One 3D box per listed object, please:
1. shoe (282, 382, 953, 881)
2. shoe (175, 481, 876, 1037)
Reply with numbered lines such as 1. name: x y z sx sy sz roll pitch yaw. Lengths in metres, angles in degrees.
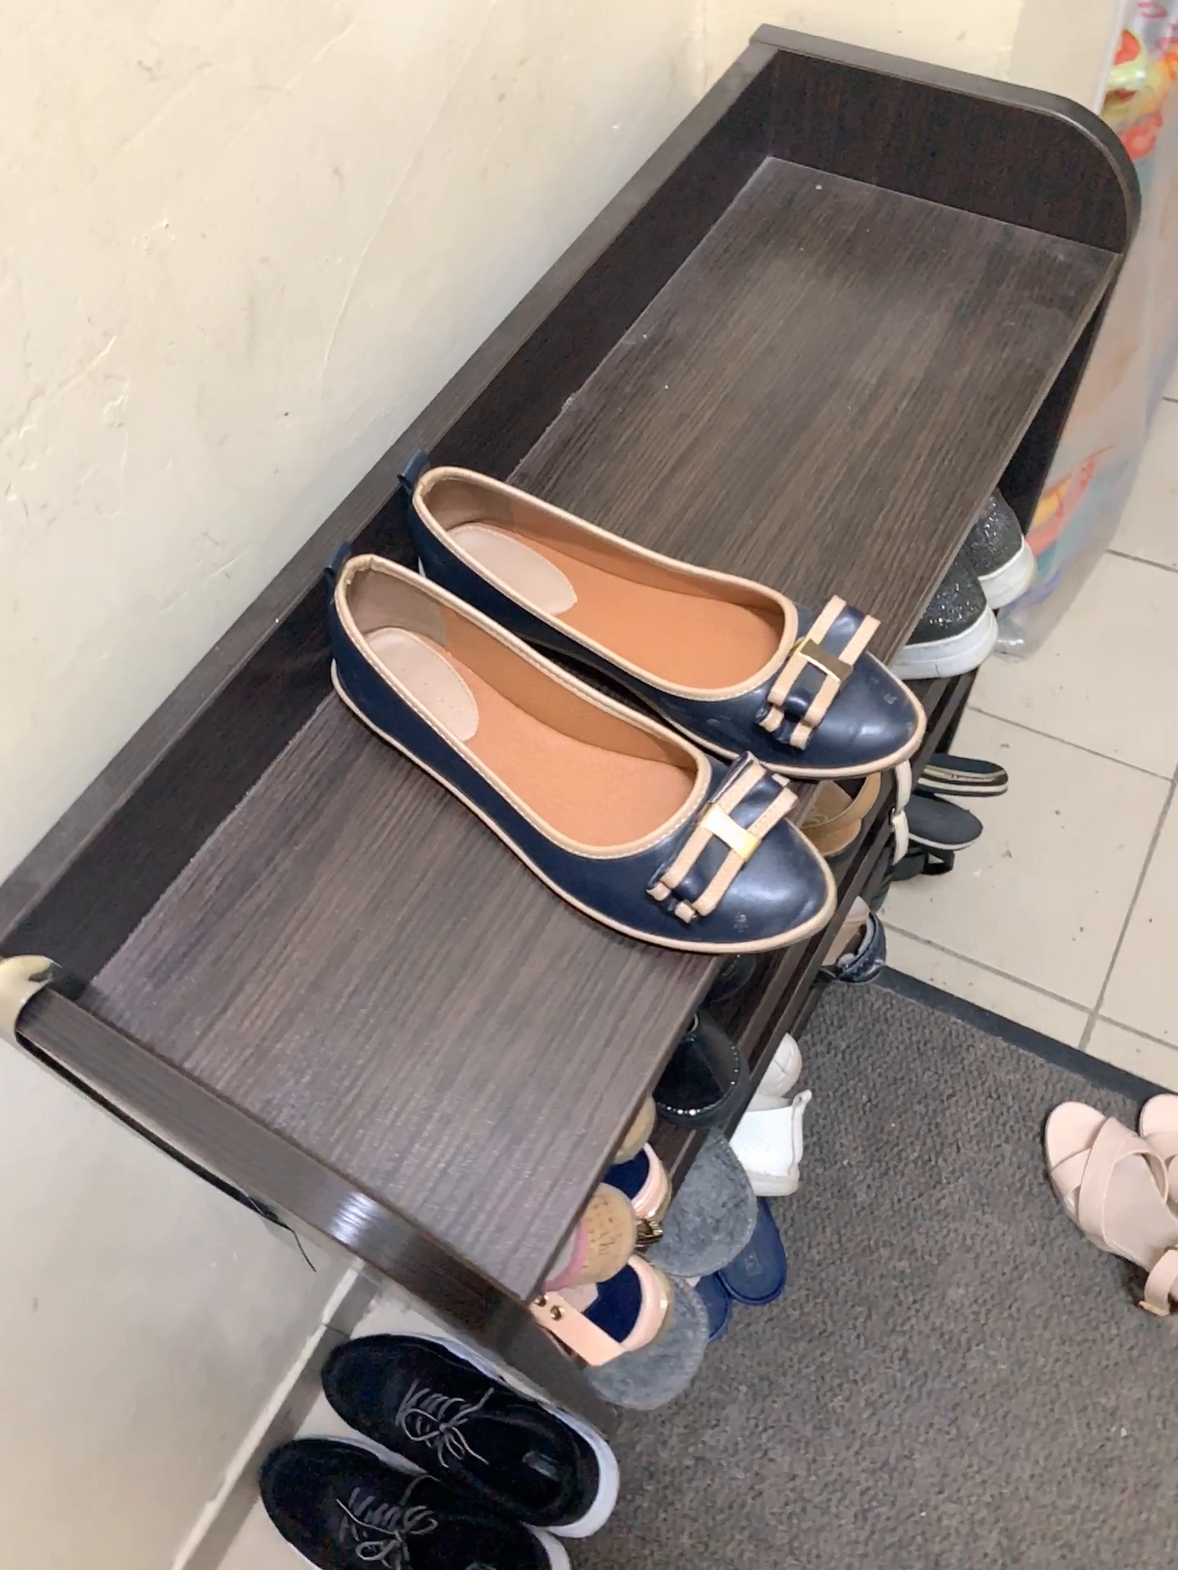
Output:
1. shoe: 0.010 -0.076 0.565 0.280 0.100 0.100 26 71 20
2. shoe: -0.029 -0.016 0.529 0.280 0.100 0.100 28 71 21
